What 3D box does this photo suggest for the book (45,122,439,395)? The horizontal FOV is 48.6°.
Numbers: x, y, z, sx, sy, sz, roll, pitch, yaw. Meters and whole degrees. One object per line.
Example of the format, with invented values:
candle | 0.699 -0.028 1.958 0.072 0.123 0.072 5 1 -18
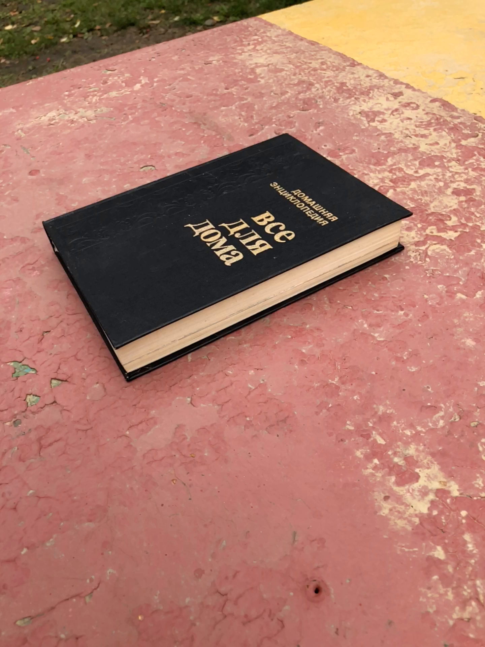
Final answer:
book | -0.005 -0.061 0.363 0.210 0.040 0.150 -25 48 -18
